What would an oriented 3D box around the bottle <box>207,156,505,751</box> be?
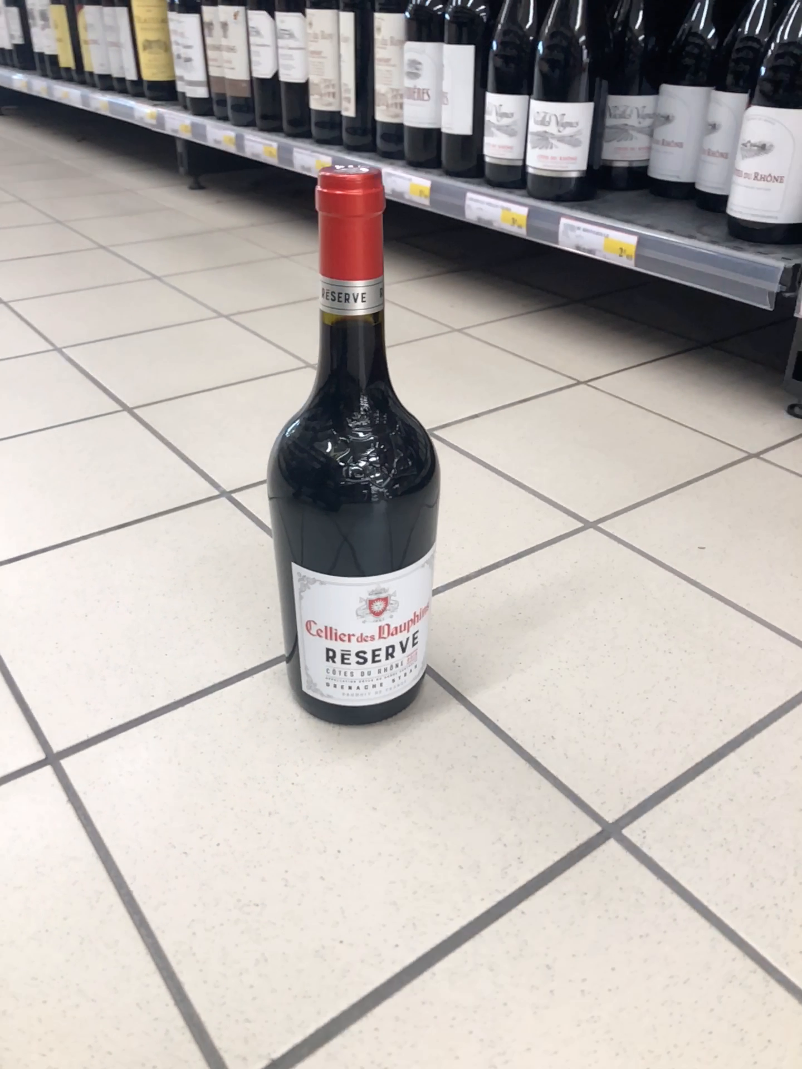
[{"bbox_3d":[-0.025,-0.035,0.438,0.110,0.268,0.100,0,30,0],"label":"bottle"}]
